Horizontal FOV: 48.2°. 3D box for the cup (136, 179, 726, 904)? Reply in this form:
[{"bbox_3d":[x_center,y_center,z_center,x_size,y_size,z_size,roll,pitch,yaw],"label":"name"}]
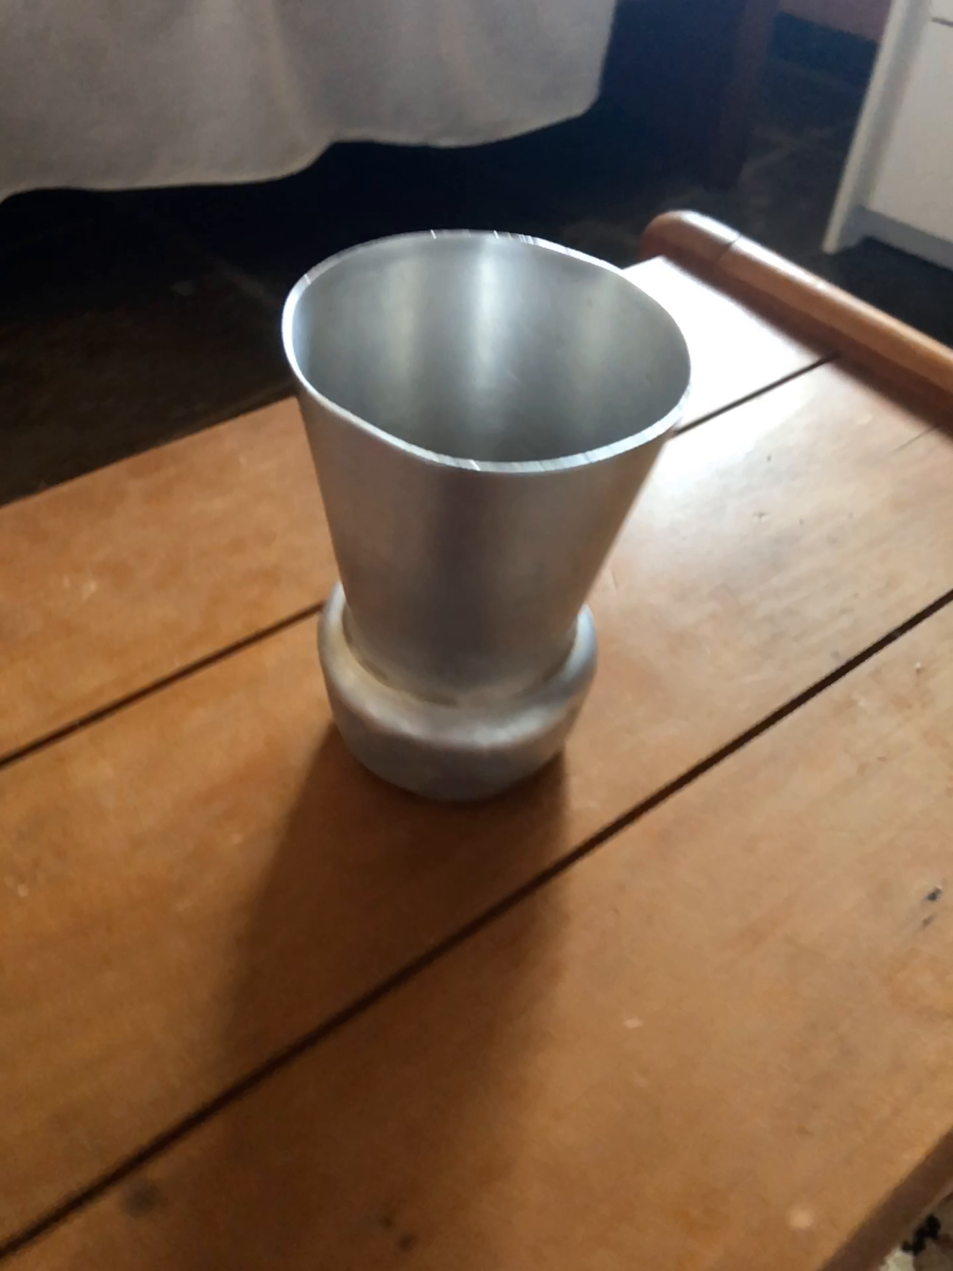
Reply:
[{"bbox_3d":[-0.010,-0.017,0.217,0.070,0.109,0.070,2,46,-2],"label":"cup"}]
